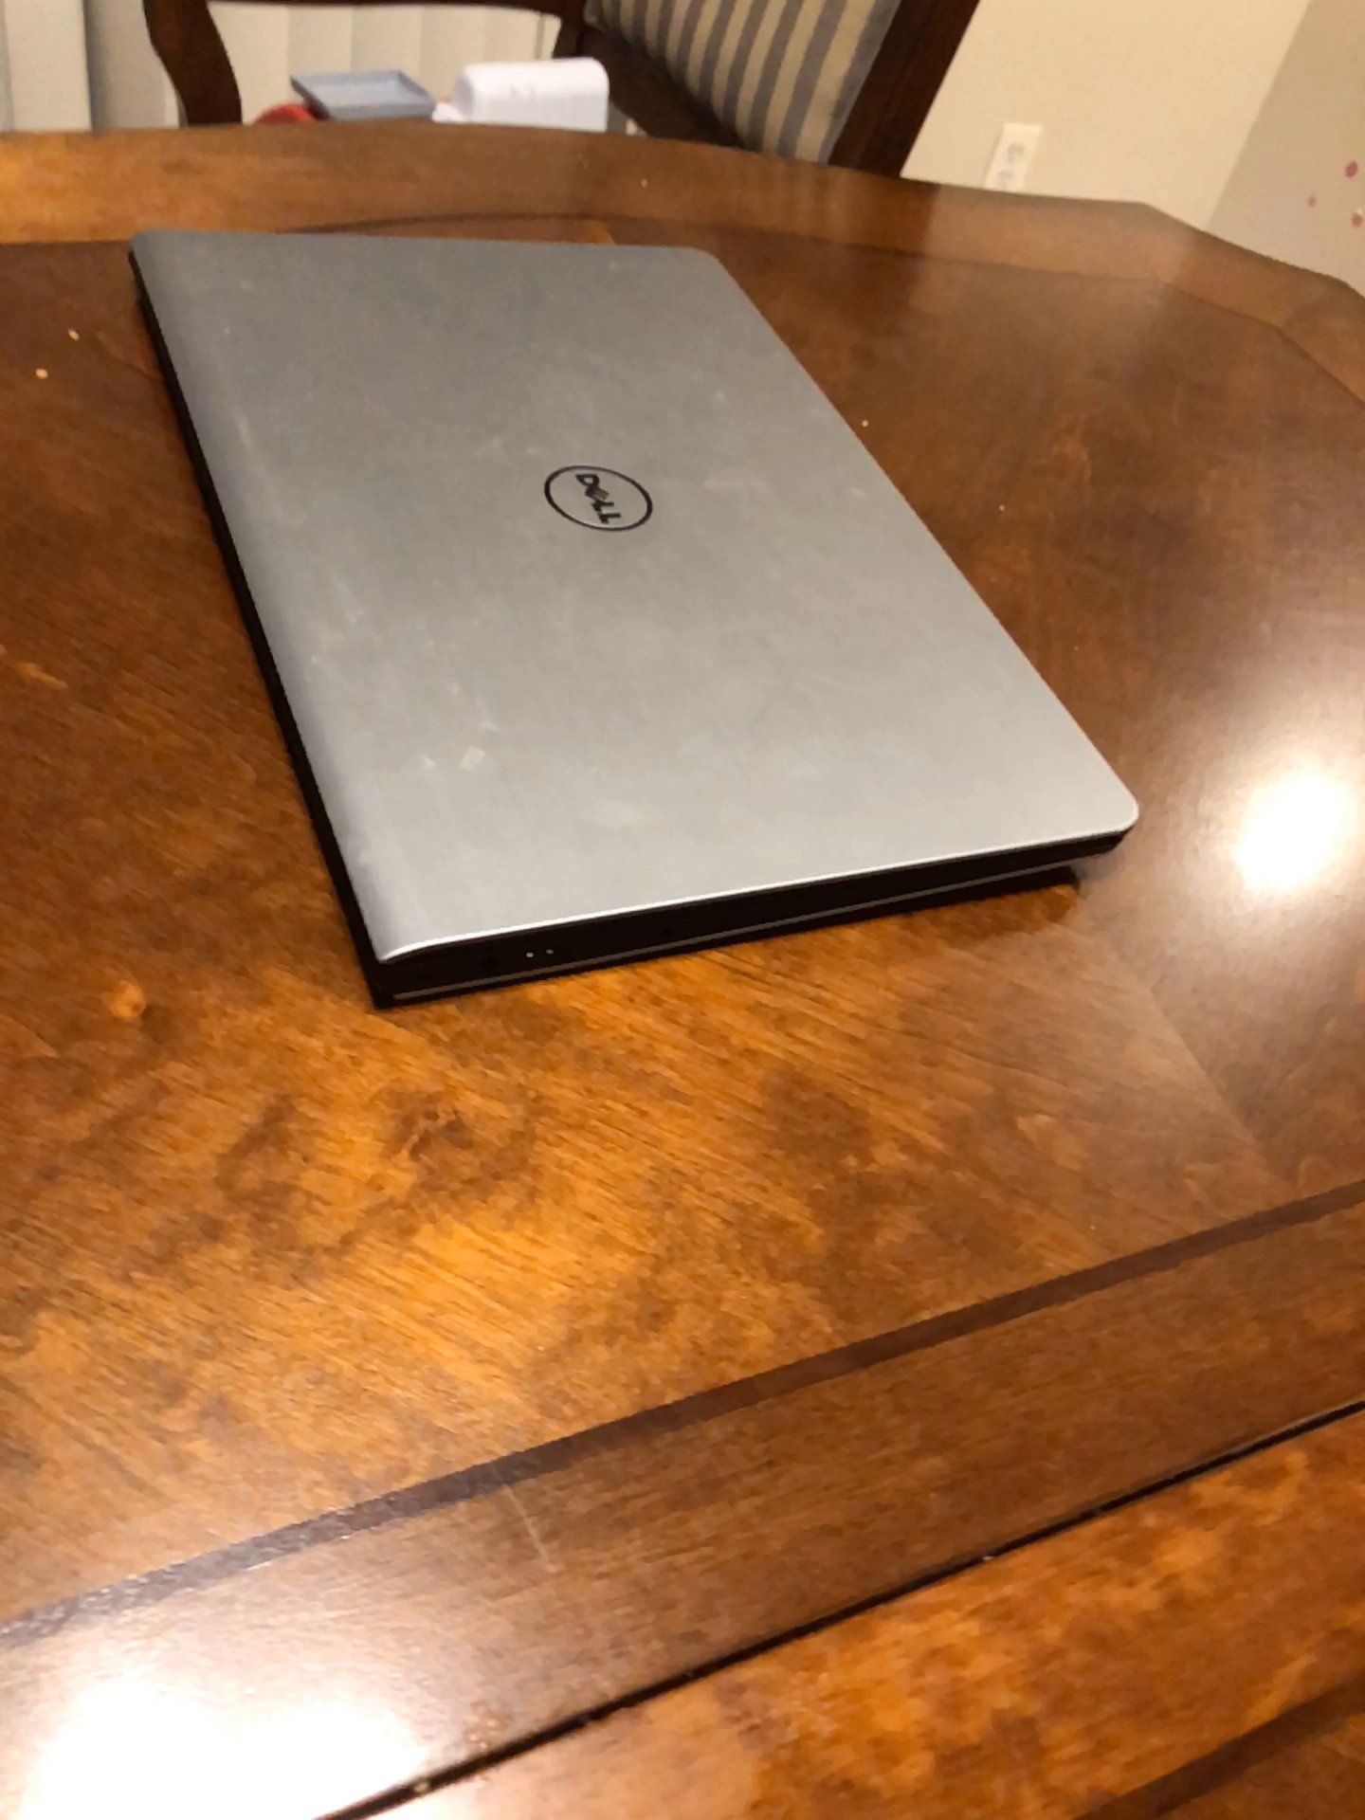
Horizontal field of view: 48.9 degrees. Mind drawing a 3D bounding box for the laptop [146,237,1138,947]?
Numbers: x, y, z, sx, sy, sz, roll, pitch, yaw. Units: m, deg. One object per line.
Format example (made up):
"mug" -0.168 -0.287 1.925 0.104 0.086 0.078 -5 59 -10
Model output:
"laptop" -0.032 -0.145 0.533 0.243 0.002 0.365 -9 52 -24
